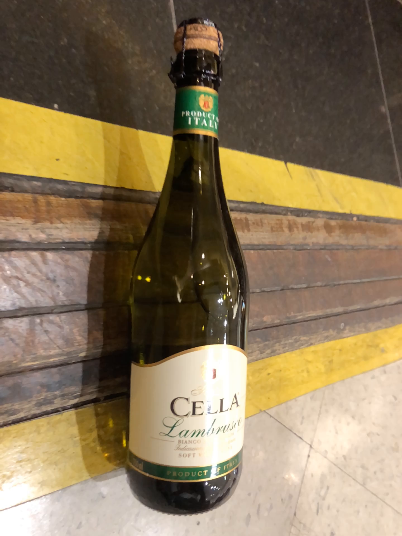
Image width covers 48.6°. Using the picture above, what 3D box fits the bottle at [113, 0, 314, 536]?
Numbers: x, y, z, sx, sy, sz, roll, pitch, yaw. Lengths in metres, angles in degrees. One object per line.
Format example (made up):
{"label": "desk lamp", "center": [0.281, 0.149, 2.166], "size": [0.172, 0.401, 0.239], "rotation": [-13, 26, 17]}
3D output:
{"label": "bottle", "center": [0.007, 0.002, 0.288], "size": [0.091, 0.060, 0.310], "rotation": [0, 96, -43]}
